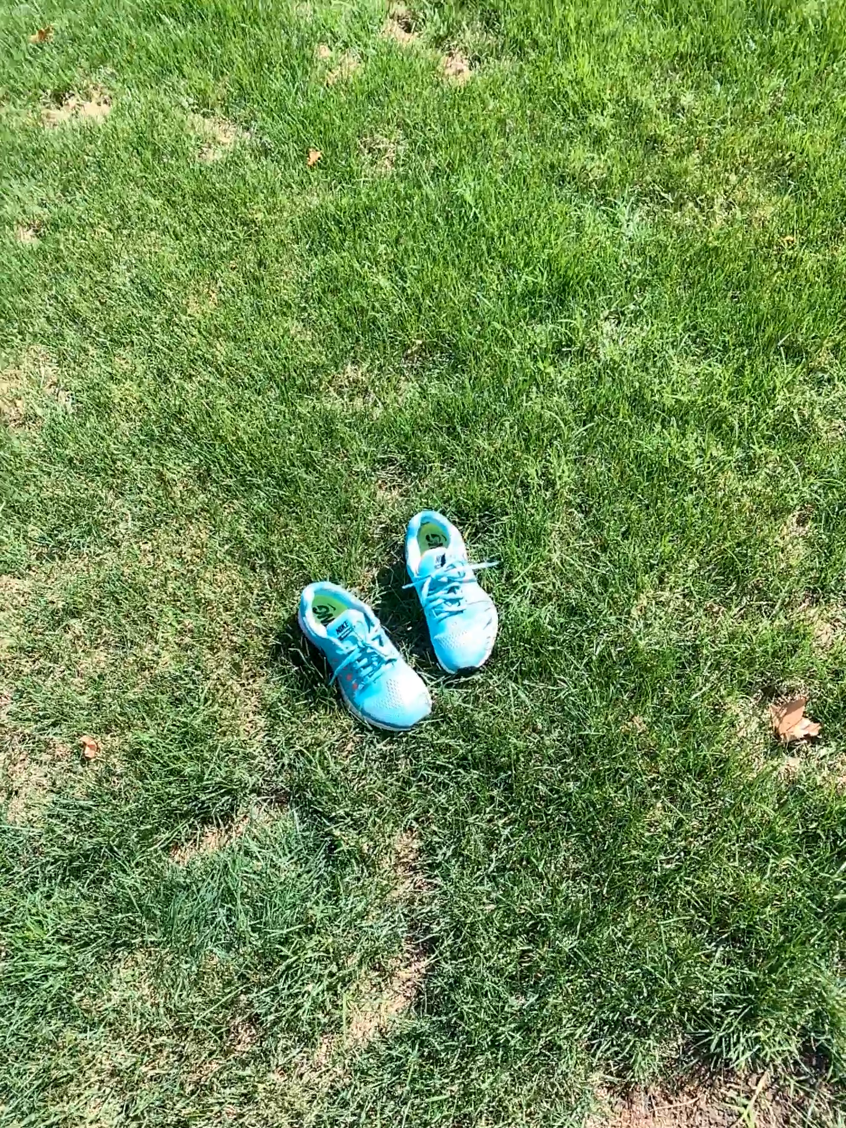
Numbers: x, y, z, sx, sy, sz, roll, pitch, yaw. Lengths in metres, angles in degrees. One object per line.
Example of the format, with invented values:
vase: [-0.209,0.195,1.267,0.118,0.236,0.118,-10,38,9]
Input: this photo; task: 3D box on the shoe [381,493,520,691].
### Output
shoe: [0.037,0.036,1.213,0.120,0.070,0.251,-18,60,-1]

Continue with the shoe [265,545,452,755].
shoe: [-0.090,0.116,1.199,0.120,0.090,0.261,-35,63,-14]
